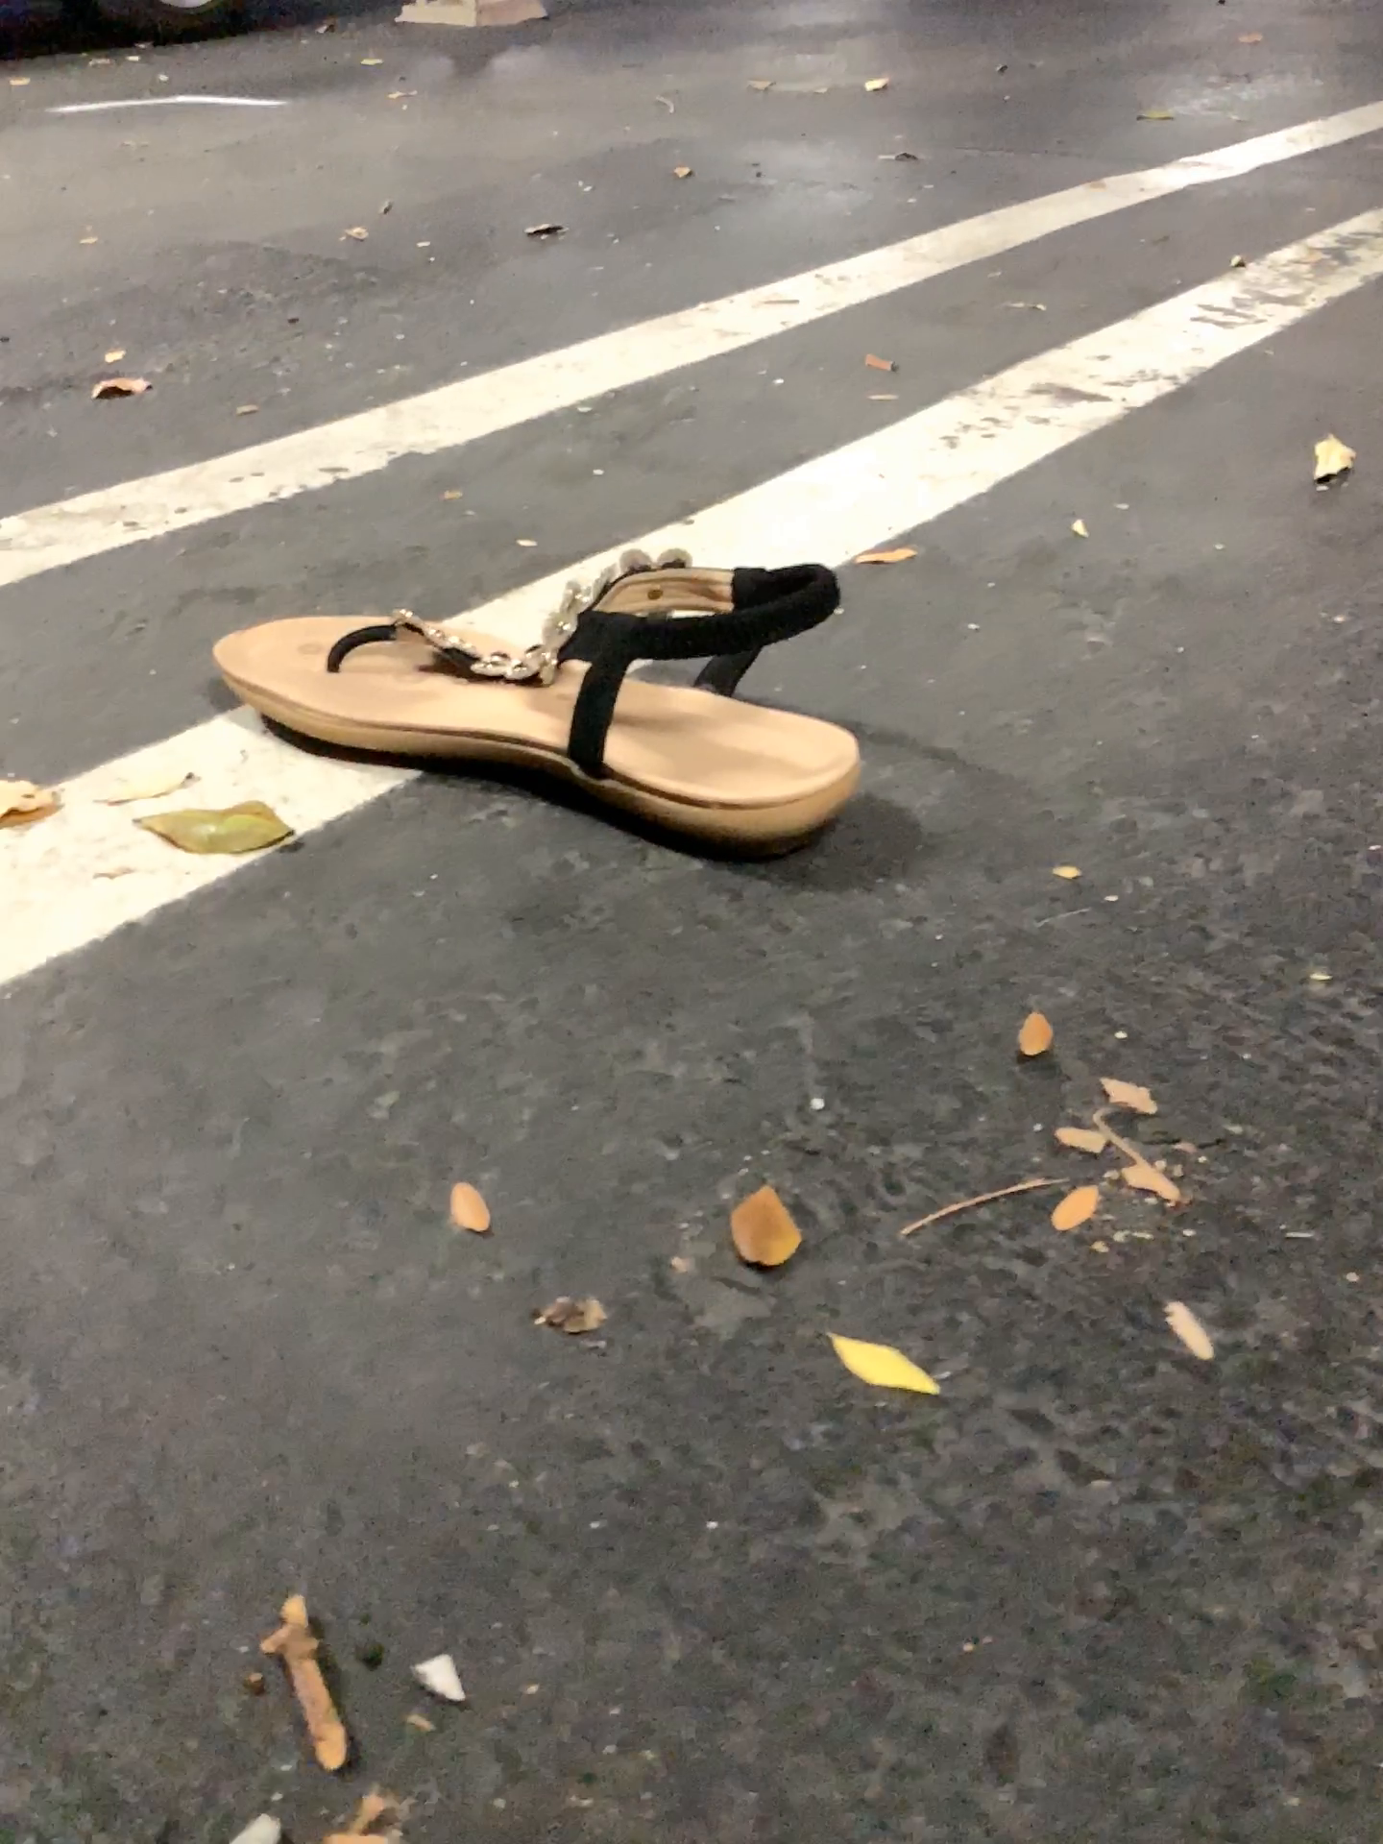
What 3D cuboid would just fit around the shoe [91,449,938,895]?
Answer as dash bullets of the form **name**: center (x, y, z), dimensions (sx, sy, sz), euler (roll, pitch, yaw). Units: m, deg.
- **shoe**: center (-0.062, -0.097, 0.526), dimensions (0.260, 0.060, 0.120), euler (17, 40, 27)
